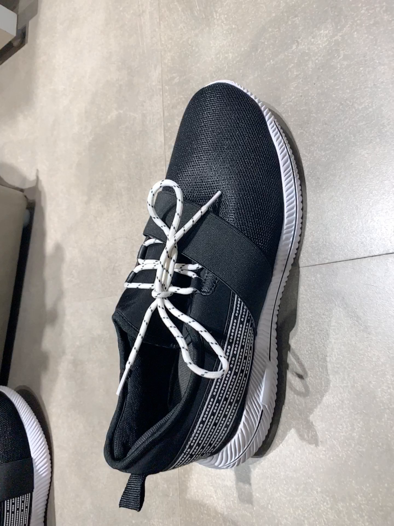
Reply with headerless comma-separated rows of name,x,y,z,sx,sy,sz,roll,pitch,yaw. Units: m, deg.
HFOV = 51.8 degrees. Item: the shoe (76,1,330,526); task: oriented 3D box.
shoe,0.013,0.006,0.311,0.117,0.131,0.304,0,84,39
